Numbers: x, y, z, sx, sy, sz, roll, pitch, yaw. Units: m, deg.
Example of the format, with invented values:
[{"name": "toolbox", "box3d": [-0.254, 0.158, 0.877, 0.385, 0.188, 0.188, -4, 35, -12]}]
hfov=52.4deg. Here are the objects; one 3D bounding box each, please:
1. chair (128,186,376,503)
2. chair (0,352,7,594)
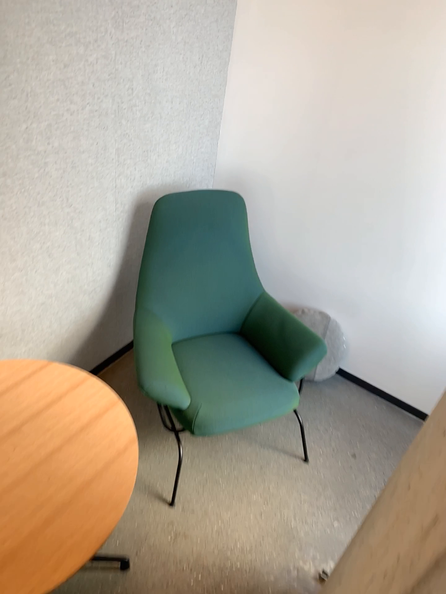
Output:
[{"name": "chair", "box3d": [0.004, 0.169, 1.951, 0.650, 1.015, 0.754, -9, 39, -23]}, {"name": "chair", "box3d": [-1.056, 0.850, 0.835, 0.842, 0.995, 0.722, 29, 41, 27]}]
